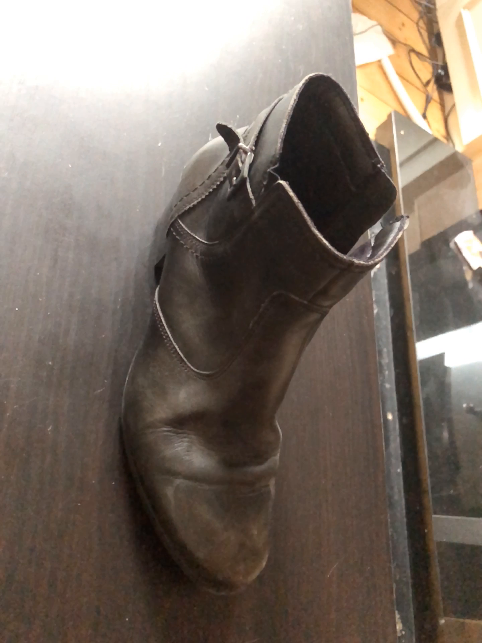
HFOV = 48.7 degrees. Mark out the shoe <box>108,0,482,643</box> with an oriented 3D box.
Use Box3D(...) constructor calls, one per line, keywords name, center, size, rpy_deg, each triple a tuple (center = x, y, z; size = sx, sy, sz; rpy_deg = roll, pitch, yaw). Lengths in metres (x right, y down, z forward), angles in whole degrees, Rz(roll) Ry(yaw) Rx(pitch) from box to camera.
Box3D(name="shoe", center=(0.010, -0.001, 0.283), size=(0.090, 0.169, 0.271), rpy_deg=(12, 64, -31))
